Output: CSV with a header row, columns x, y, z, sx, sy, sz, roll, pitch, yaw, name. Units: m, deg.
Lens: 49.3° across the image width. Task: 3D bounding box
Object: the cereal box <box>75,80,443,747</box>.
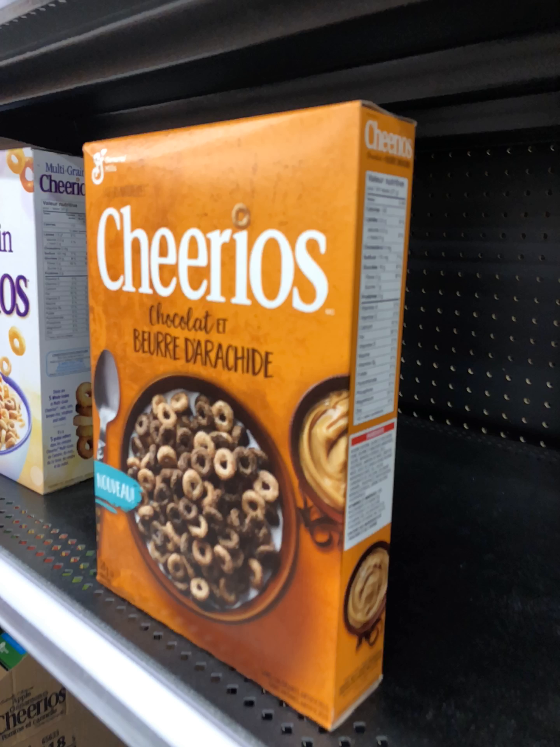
x,y,z,sx,sy,sz,roll,pitch,yaw,name
-0.027,0.012,0.341,0.200,0.289,0.060,11,15,39,cereal box
